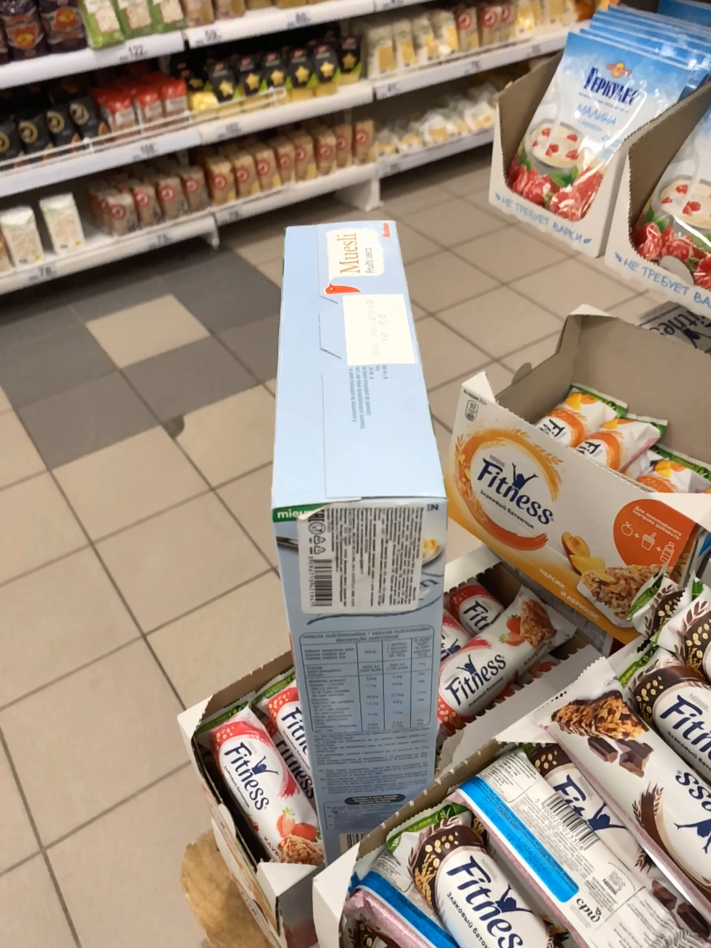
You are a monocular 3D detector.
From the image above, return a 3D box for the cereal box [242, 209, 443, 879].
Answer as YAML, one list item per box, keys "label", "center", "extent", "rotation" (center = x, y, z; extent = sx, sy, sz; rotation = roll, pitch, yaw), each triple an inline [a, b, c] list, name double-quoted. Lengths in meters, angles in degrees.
- label: "cereal box"
  center: [-0.001, 0.046, 0.404]
  extent: [0.060, 0.288, 0.201]
  rotation: [-2, 43, 1]
